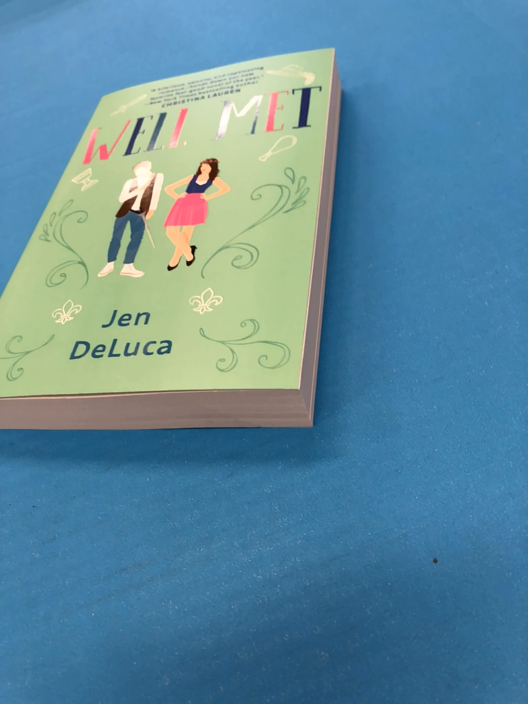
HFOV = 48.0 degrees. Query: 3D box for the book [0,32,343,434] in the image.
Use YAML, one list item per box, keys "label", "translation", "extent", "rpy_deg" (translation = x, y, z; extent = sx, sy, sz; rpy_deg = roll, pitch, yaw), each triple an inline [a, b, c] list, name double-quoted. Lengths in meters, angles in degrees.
- label: "book"
  translation: [-0.044, -0.066, 0.276]
  extent: [0.146, 0.030, 0.216]
  rpy_deg: [-3, 53, 16]
